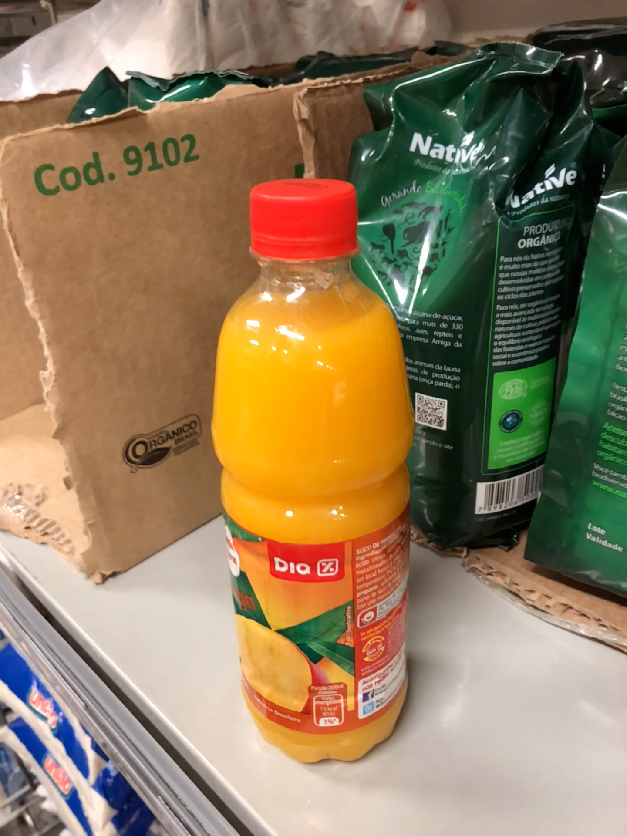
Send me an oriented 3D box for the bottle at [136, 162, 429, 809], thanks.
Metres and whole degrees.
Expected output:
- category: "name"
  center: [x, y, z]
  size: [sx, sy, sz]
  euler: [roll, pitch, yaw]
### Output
- category: "bottle"
  center: [-0.005, 0.026, 0.236]
  size: [0.060, 0.198, 0.070]
  euler: [-14, 28, -16]
